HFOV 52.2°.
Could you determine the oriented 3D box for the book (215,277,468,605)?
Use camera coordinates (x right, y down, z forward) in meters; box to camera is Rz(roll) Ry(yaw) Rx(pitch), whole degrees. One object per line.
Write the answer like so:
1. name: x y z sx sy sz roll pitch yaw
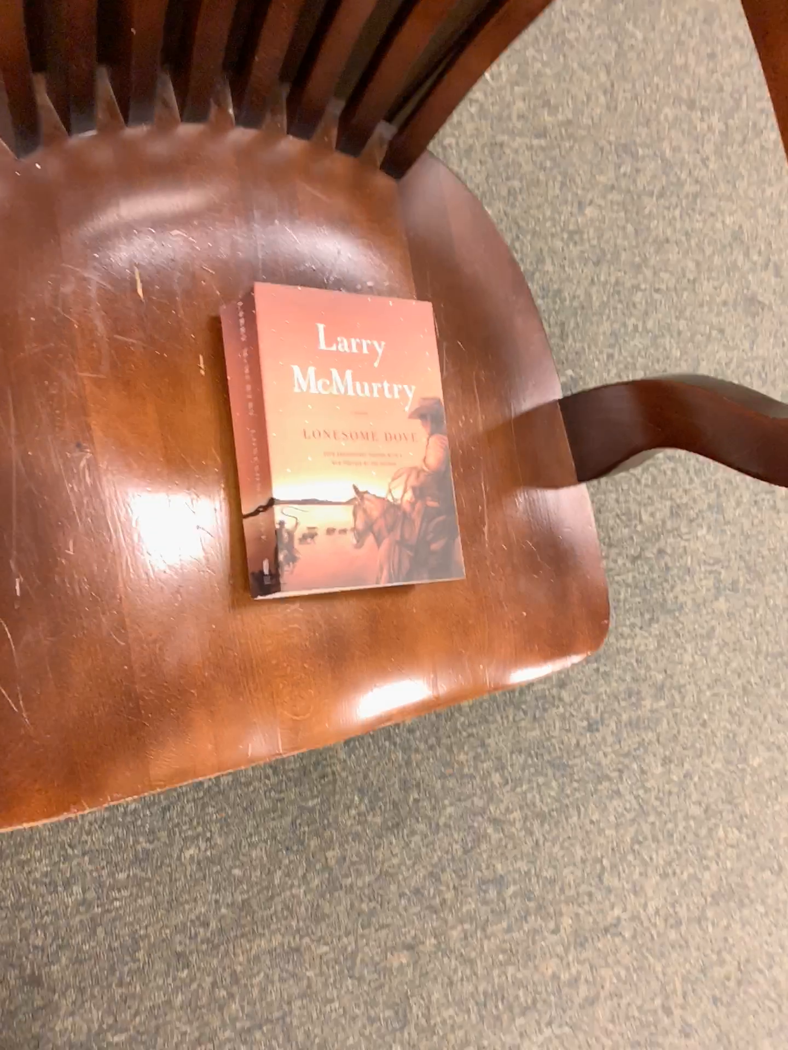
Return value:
1. book: -0.036 -0.054 0.547 0.140 0.060 0.200 -2 82 -27
